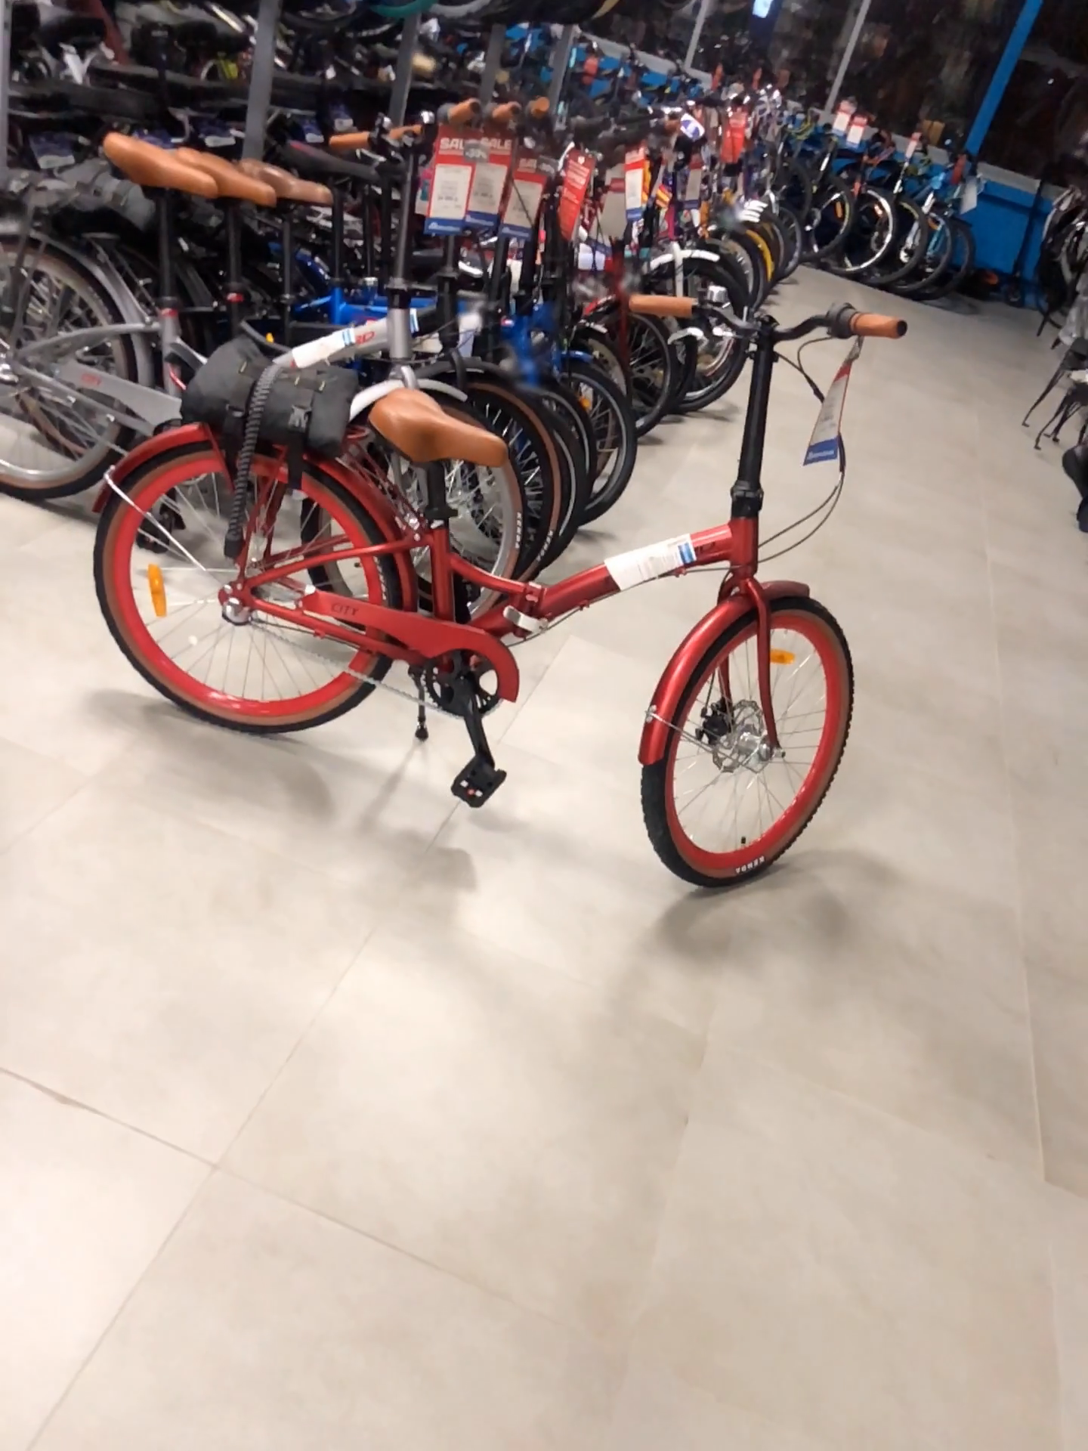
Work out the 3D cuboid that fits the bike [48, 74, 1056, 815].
[{"bbox_3d":[-0.049,-0.497,2.301,1.494,1.111,0.519,9,31,-8],"label":"bike"}]
